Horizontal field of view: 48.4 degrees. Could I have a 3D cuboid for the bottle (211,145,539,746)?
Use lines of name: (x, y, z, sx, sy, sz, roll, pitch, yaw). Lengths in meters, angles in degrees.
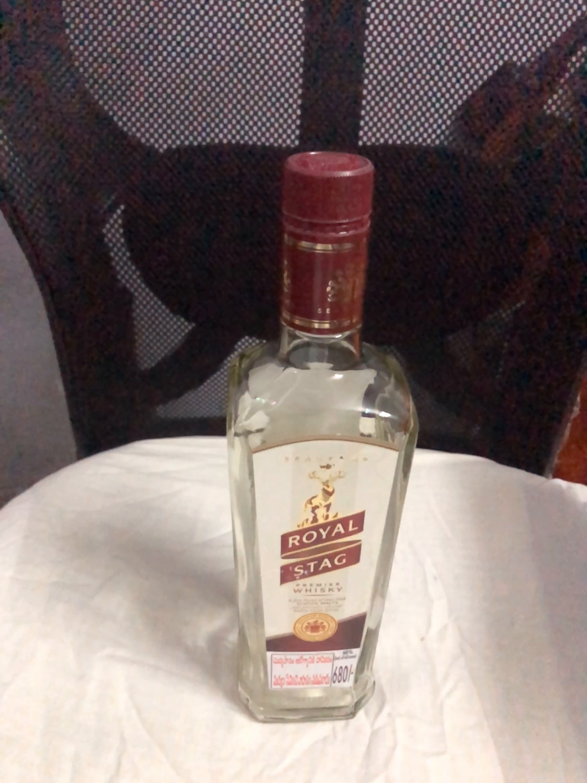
bottle: (0.014, 0.049, 0.280, 0.090, 0.279, 0.060, 2, 34, -3)
